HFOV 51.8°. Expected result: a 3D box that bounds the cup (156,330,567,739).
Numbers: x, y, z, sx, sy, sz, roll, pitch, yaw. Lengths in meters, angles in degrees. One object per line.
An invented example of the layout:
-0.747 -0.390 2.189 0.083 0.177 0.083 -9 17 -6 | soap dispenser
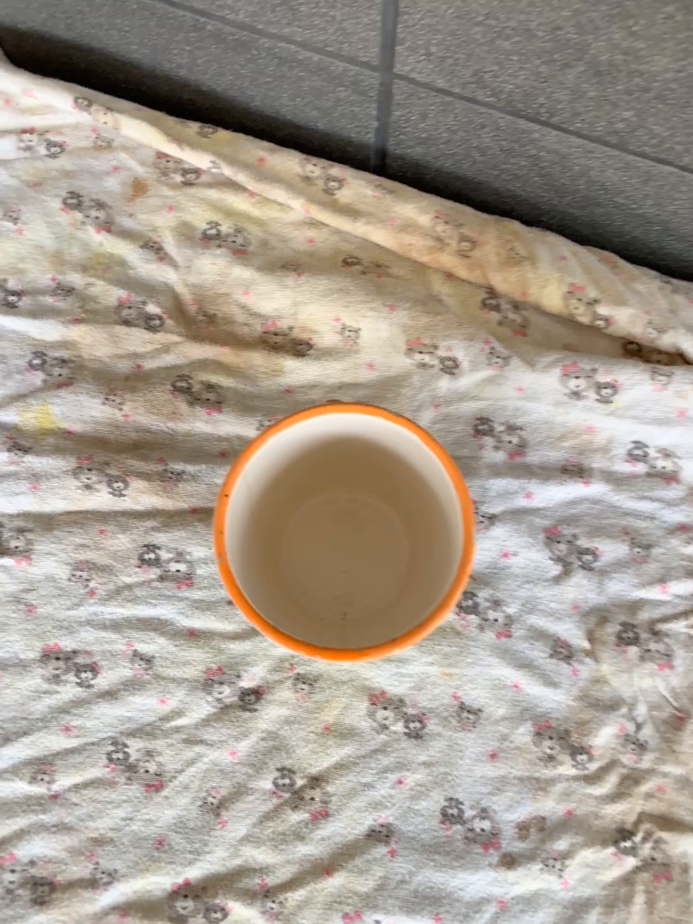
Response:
0.004 0.027 0.241 0.080 0.090 0.080 0 76 0 | cup
